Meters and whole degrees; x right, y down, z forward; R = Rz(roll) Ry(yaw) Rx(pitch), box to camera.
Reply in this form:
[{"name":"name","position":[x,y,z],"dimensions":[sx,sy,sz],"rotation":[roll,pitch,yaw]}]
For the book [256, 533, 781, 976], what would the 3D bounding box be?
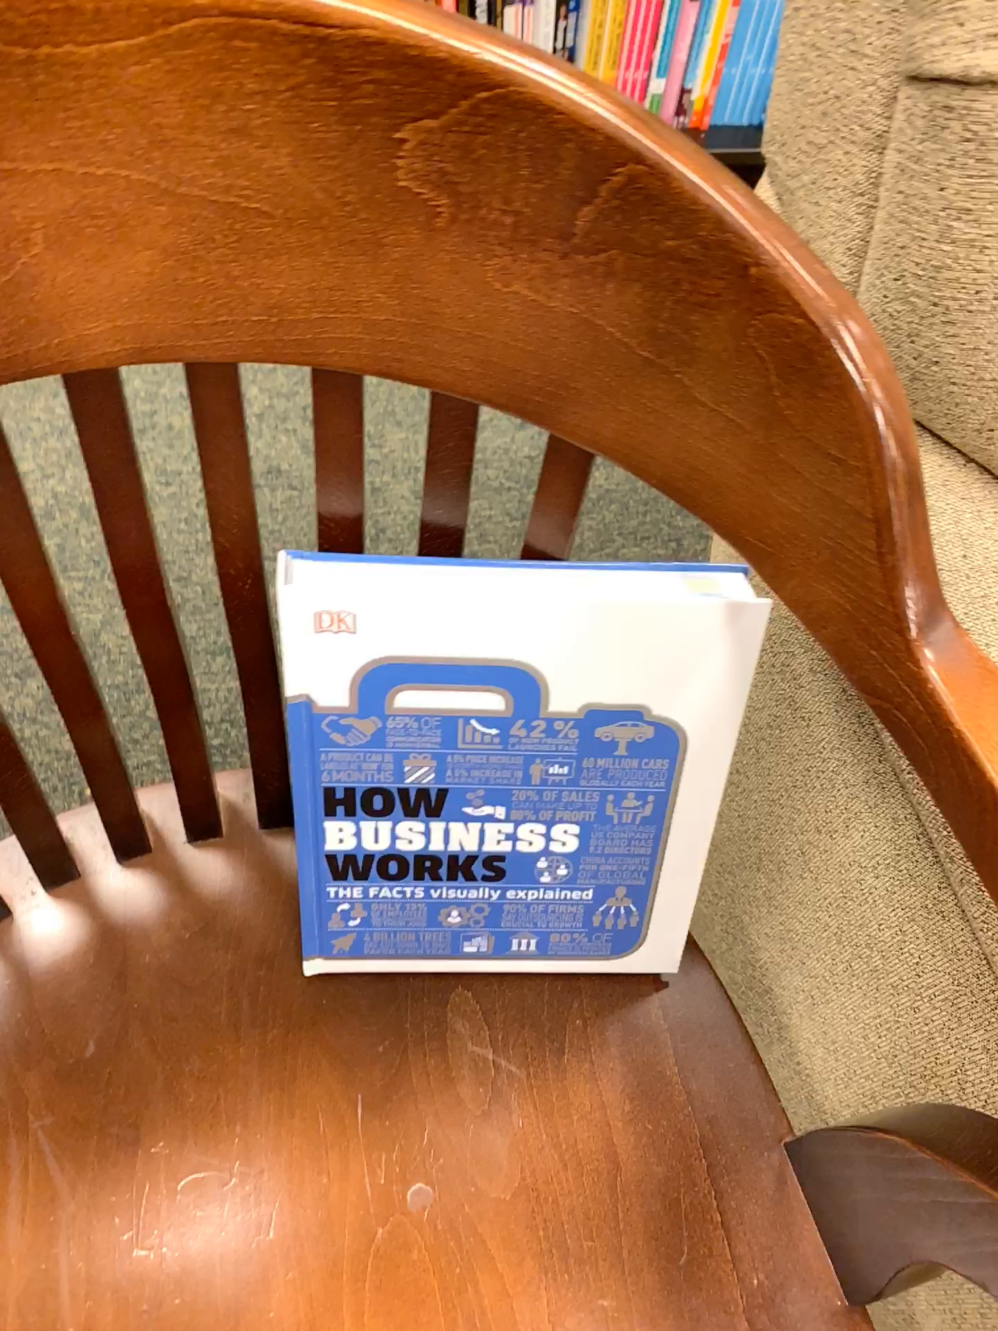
[{"name":"book","position":[-0.001,0.057,0.498],"dimensions":[0.211,0.246,0.039],"rotation":[2,37,-6]}]
